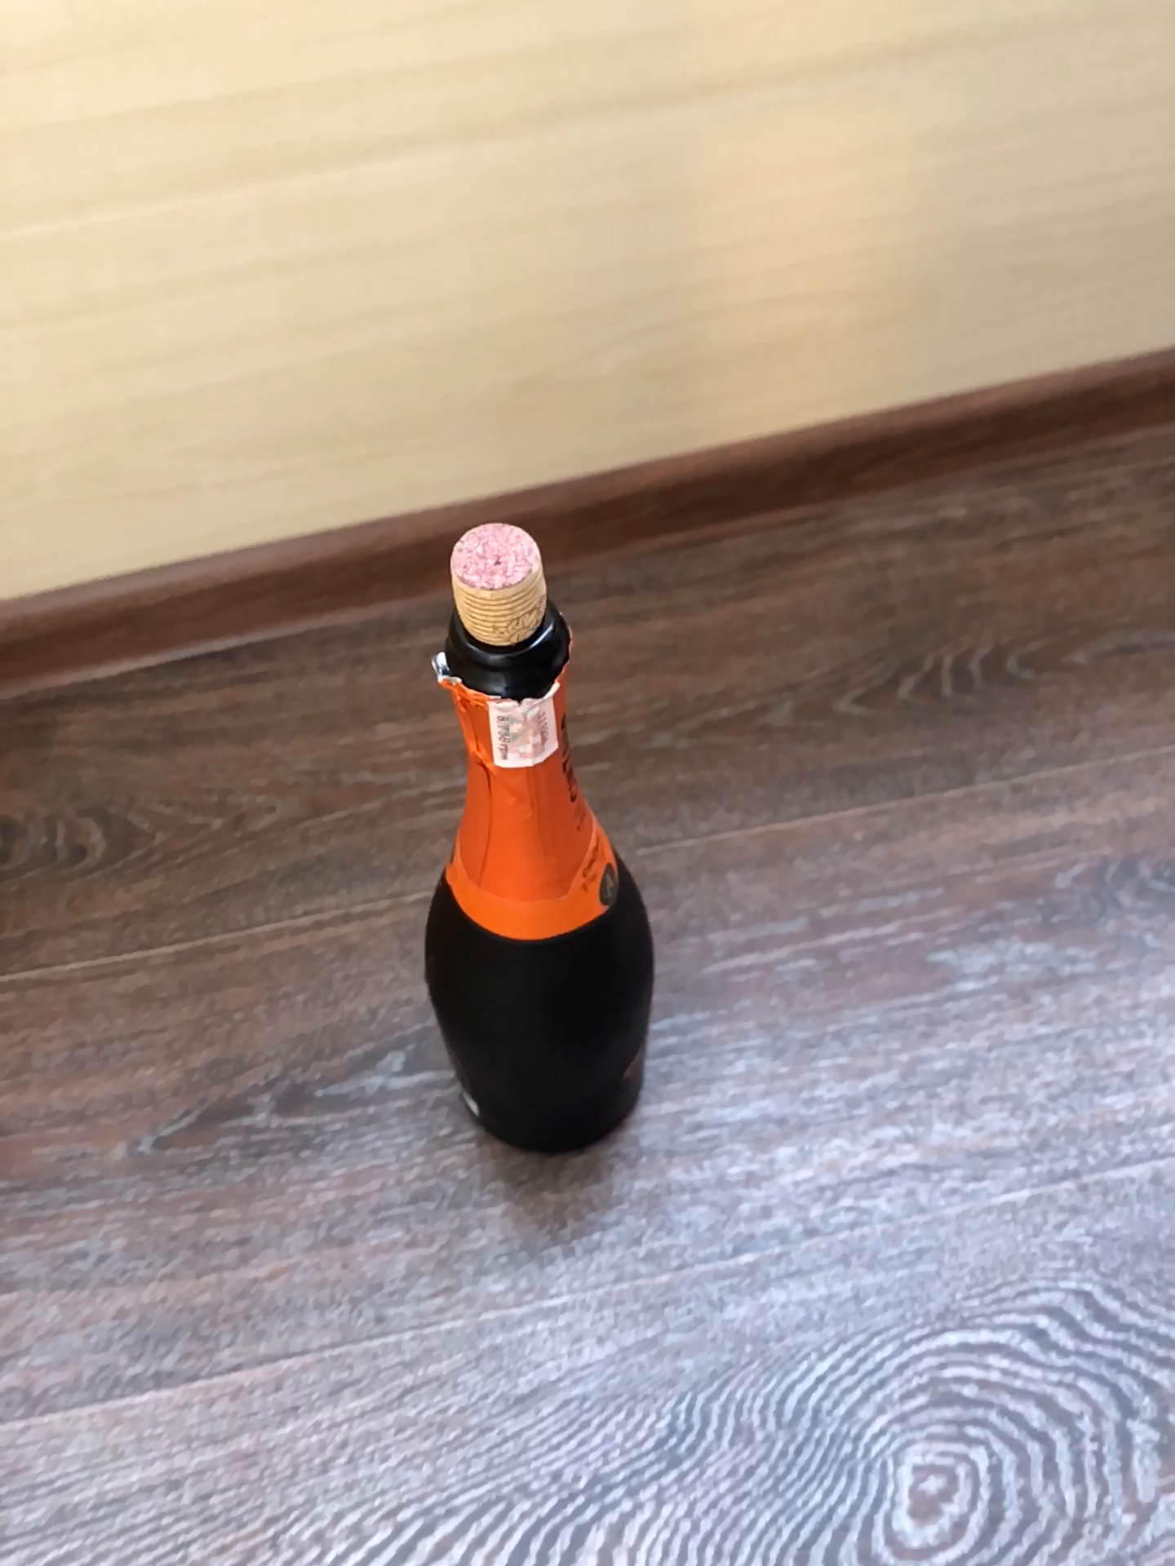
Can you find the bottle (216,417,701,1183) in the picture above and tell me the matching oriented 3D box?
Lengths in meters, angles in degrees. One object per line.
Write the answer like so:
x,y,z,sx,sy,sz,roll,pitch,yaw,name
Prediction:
-0.021,0.037,0.455,0.100,0.328,0.093,-1,56,2,bottle
